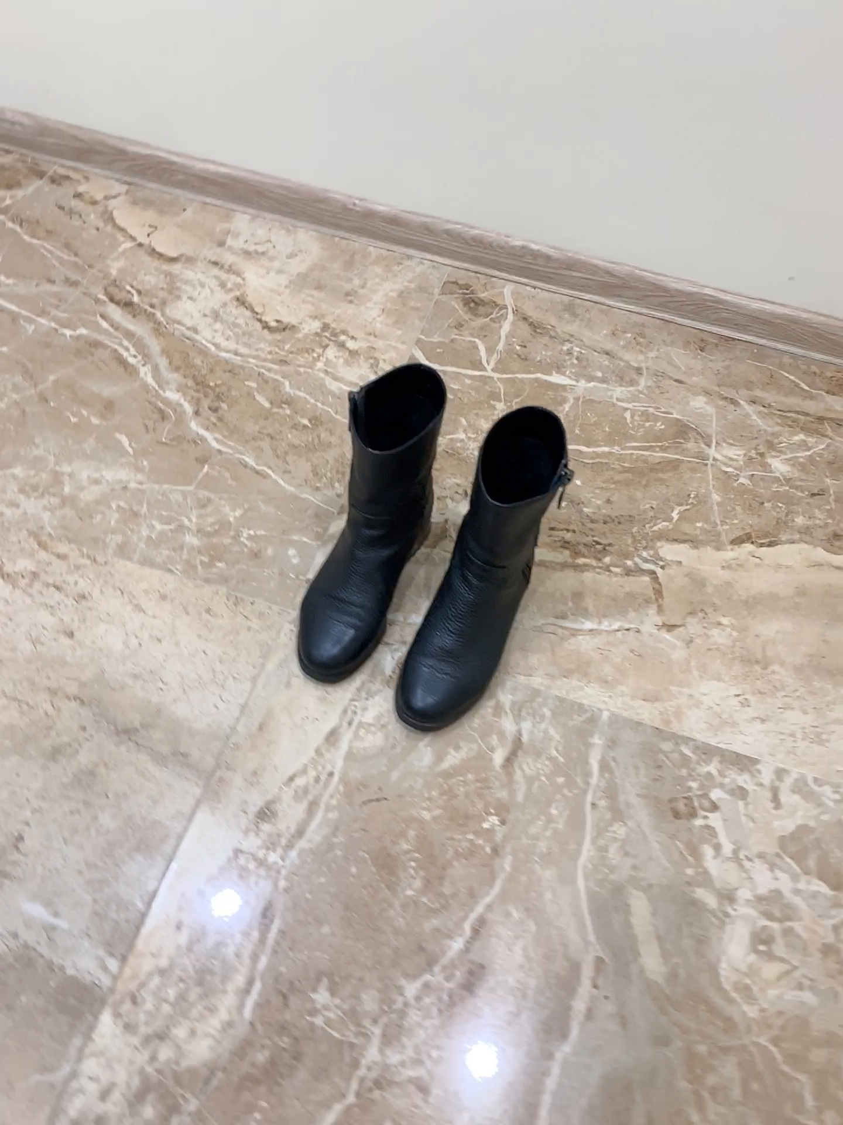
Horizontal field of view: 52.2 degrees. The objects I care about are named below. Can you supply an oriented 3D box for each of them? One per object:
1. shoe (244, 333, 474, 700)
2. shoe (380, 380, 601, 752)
[{"bbox_3d":[-0.051,-0.040,0.810,0.090,0.209,0.261,21,58,9],"label":"shoe"},{"bbox_3d":[0.060,0.006,0.794,0.090,0.209,0.261,22,58,10],"label":"shoe"}]
